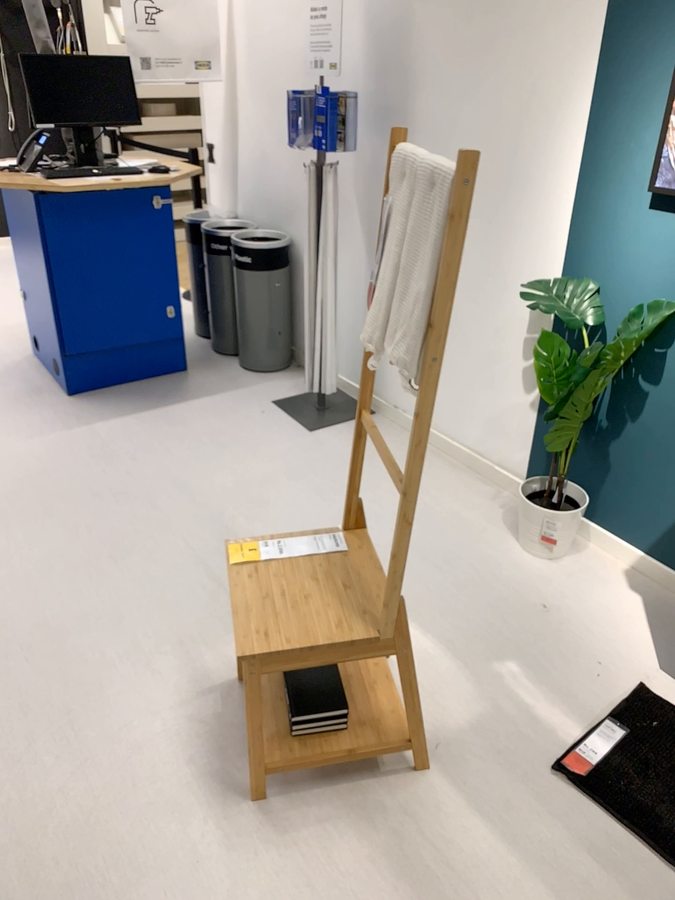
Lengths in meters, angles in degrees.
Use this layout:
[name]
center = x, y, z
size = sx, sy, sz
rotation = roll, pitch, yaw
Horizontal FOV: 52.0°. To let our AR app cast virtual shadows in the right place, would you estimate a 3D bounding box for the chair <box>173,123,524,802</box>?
[chair]
center = -0.025, 0.061, 1.416
size = 0.470, 1.294, 0.462
rotation = -4, 29, -9
